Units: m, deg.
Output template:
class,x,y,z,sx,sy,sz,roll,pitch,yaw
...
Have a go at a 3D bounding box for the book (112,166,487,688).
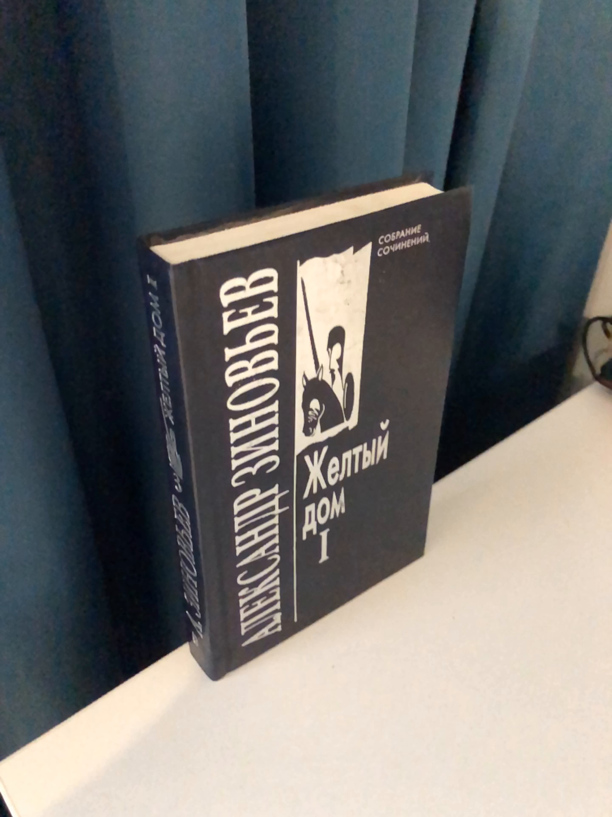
class,x,y,z,sx,sy,sz,roll,pitch,yaw
book,0.003,0.015,0.301,0.140,0.210,0.033,-23,42,-29
